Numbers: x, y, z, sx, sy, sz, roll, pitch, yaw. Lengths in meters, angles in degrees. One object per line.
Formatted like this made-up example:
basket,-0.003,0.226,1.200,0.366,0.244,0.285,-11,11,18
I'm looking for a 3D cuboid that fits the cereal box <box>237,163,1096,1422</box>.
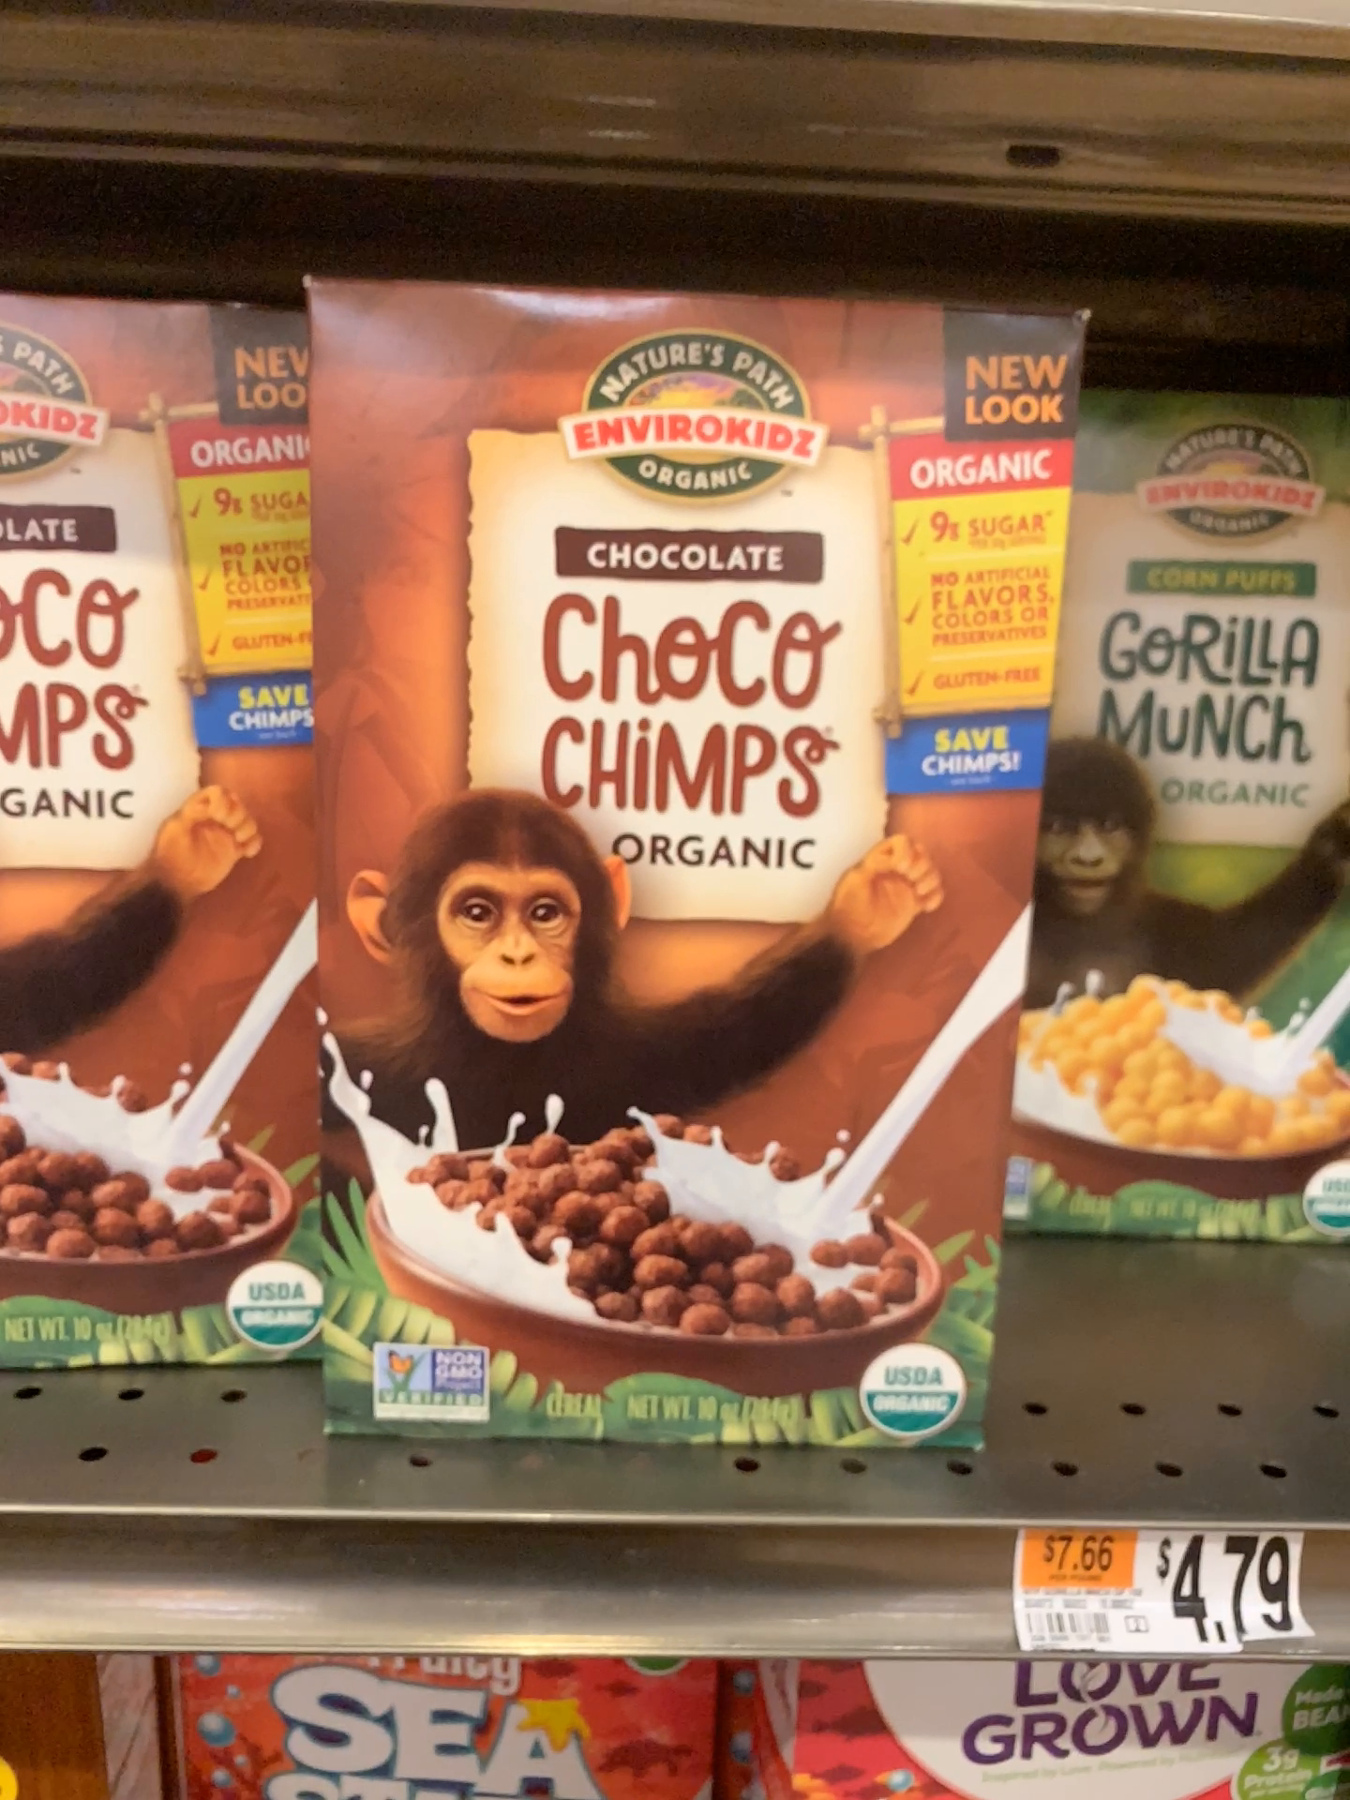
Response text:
cereal box,-0.008,-0.016,0.336,0.170,0.269,0.060,2,12,-2
